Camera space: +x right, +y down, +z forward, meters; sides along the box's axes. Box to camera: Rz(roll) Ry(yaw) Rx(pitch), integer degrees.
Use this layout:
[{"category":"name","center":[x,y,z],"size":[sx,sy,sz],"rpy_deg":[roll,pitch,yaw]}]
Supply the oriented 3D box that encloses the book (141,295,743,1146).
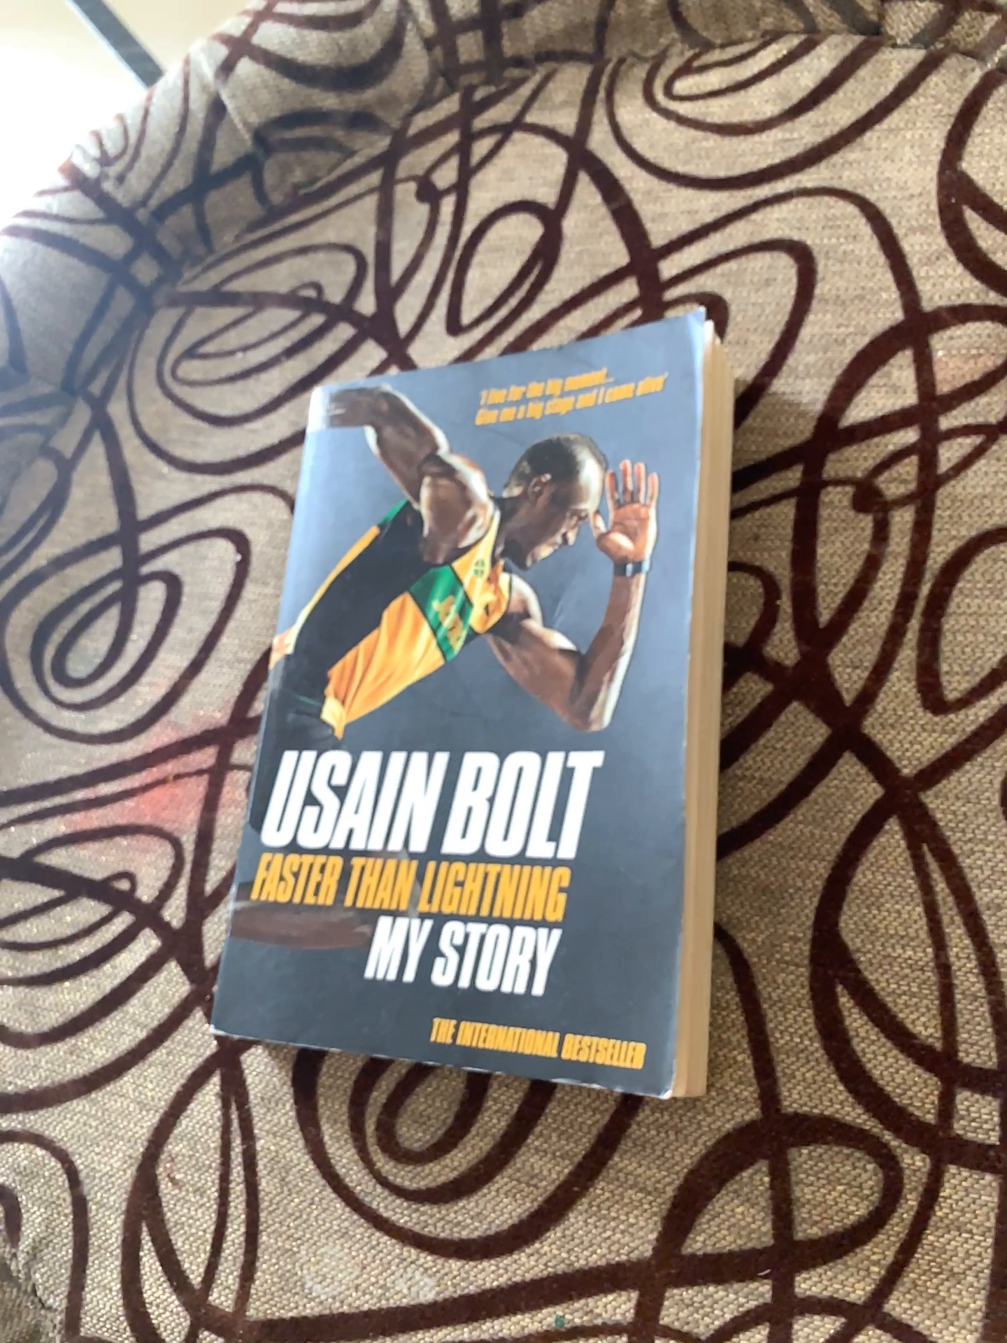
[{"category":"book","center":[-0.013,0.006,0.283],"size":[0.140,0.030,0.200],"rpy_deg":[-2,72,25]}]
